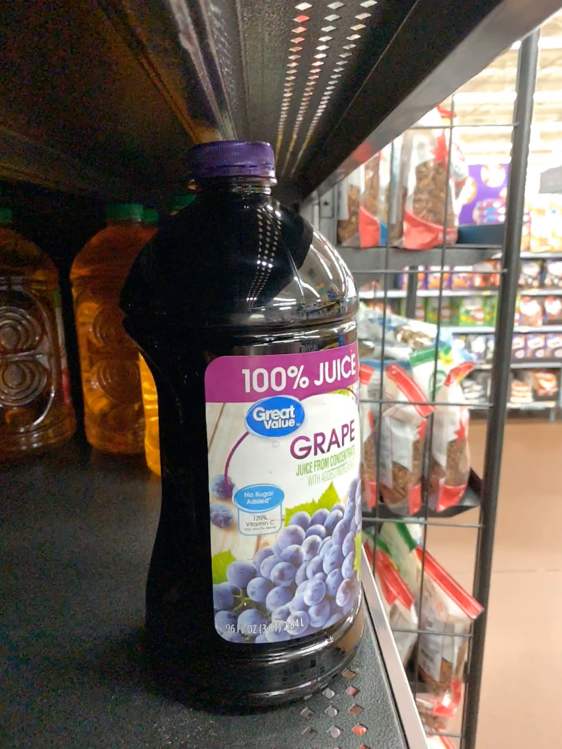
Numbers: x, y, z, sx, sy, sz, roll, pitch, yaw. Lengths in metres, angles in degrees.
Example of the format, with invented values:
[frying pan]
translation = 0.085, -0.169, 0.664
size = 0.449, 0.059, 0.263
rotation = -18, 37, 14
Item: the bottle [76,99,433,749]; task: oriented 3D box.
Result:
[bottle]
translation = -0.020, 0.018, 0.326
size = 0.130, 0.279, 0.140
rotation = -1, 12, 0
